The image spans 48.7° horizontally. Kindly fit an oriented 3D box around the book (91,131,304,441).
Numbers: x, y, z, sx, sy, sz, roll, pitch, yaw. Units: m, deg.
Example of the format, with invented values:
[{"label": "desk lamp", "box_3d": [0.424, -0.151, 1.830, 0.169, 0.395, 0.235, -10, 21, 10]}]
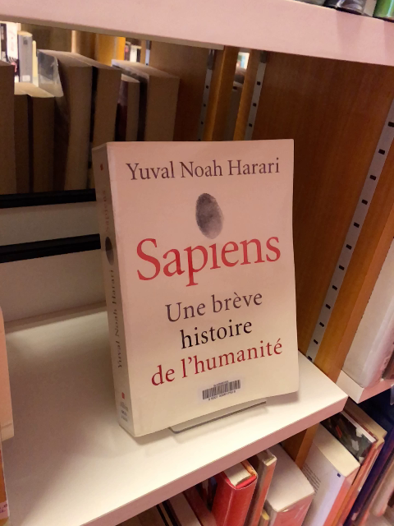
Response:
[{"label": "book", "box_3d": [0.008, 0.011, 0.398, 0.178, 0.244, 0.052, -7, 8, -26]}]
